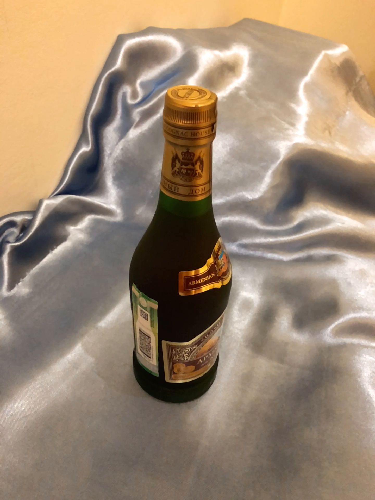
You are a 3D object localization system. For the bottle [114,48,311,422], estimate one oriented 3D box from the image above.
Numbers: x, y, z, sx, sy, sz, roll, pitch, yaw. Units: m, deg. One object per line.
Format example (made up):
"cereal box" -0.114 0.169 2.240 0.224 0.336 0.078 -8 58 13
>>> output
"bottle" 0.004 0.012 0.282 0.074 0.247 0.081 4 44 -4
